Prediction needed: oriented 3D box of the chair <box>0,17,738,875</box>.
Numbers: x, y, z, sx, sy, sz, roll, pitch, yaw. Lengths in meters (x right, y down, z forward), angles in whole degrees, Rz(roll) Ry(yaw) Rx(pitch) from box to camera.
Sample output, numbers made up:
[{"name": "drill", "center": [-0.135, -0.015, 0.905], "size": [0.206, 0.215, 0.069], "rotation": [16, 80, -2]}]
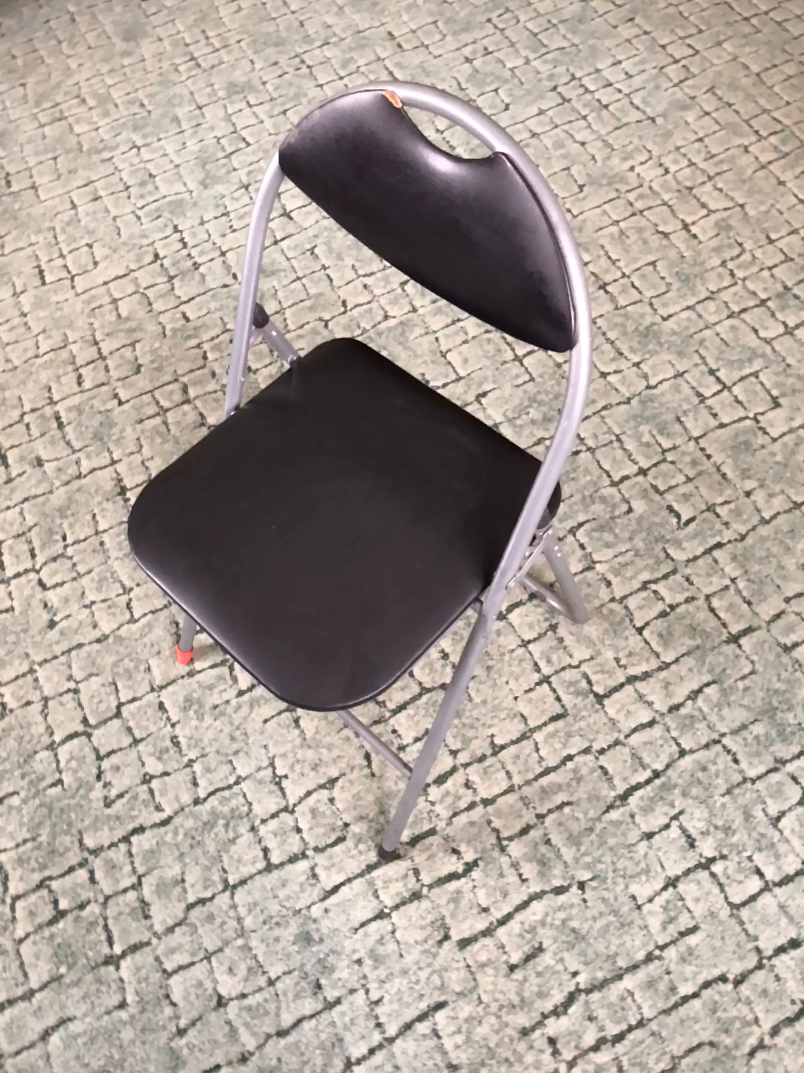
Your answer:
[{"name": "chair", "center": [-0.047, -0.032, 0.998], "size": [0.457, 0.733, 0.476], "rotation": [38, 69, 23]}]
